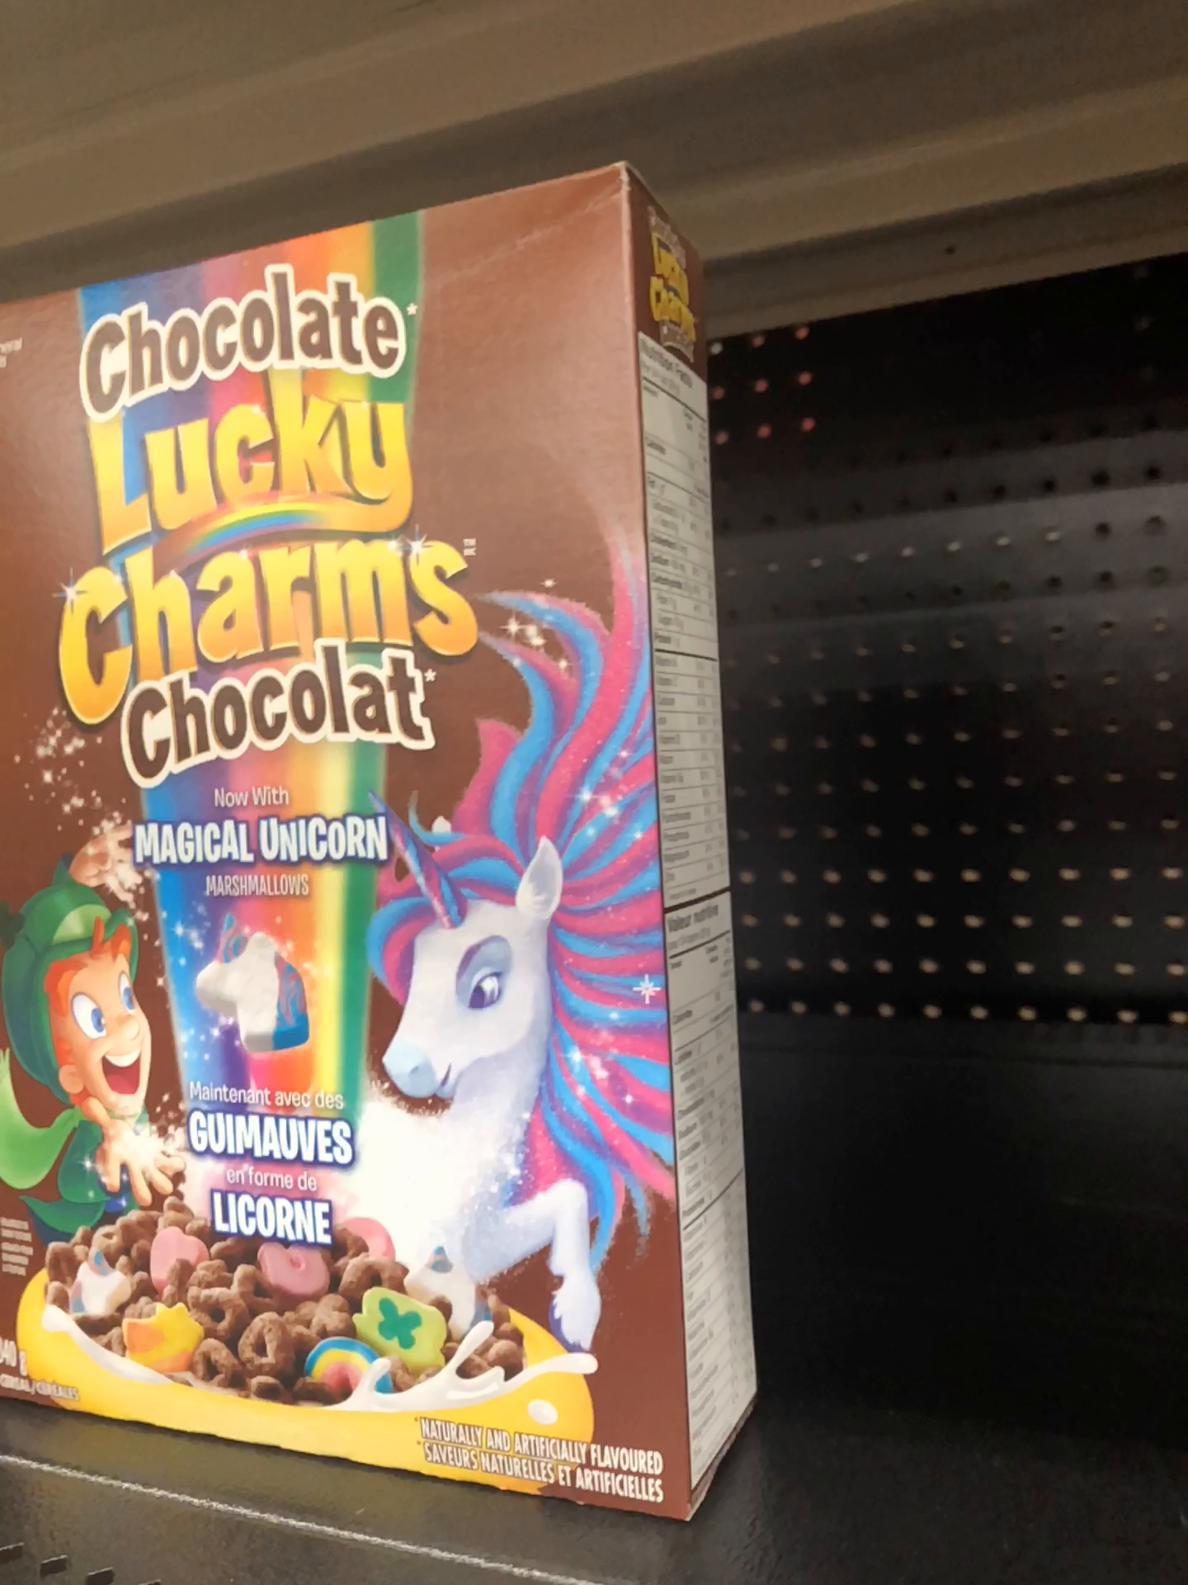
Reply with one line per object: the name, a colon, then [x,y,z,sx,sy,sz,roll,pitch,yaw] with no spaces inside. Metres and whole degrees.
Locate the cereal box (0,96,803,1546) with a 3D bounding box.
cereal box: [-0.059,0.007,0.332,0.200,0.290,0.060,-2,-1,24]
